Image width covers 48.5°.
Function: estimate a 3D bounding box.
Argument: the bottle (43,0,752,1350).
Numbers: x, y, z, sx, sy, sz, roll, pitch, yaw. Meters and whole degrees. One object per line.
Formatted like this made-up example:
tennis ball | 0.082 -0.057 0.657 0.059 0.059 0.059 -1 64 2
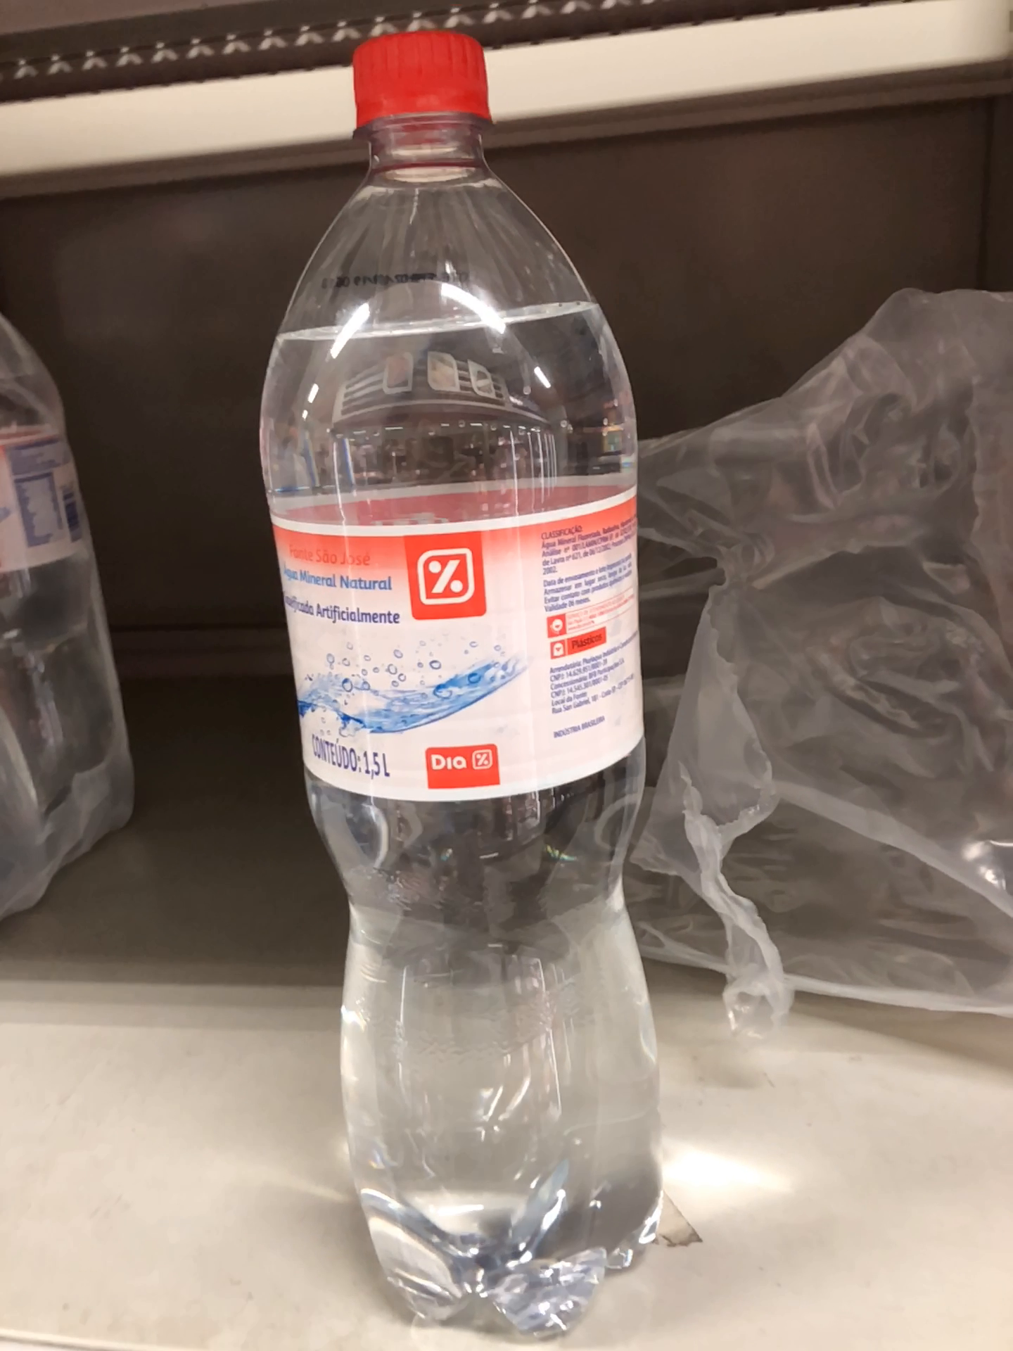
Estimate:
bottle | -0.010 0.007 0.287 0.100 0.318 0.100 -5 19 2
